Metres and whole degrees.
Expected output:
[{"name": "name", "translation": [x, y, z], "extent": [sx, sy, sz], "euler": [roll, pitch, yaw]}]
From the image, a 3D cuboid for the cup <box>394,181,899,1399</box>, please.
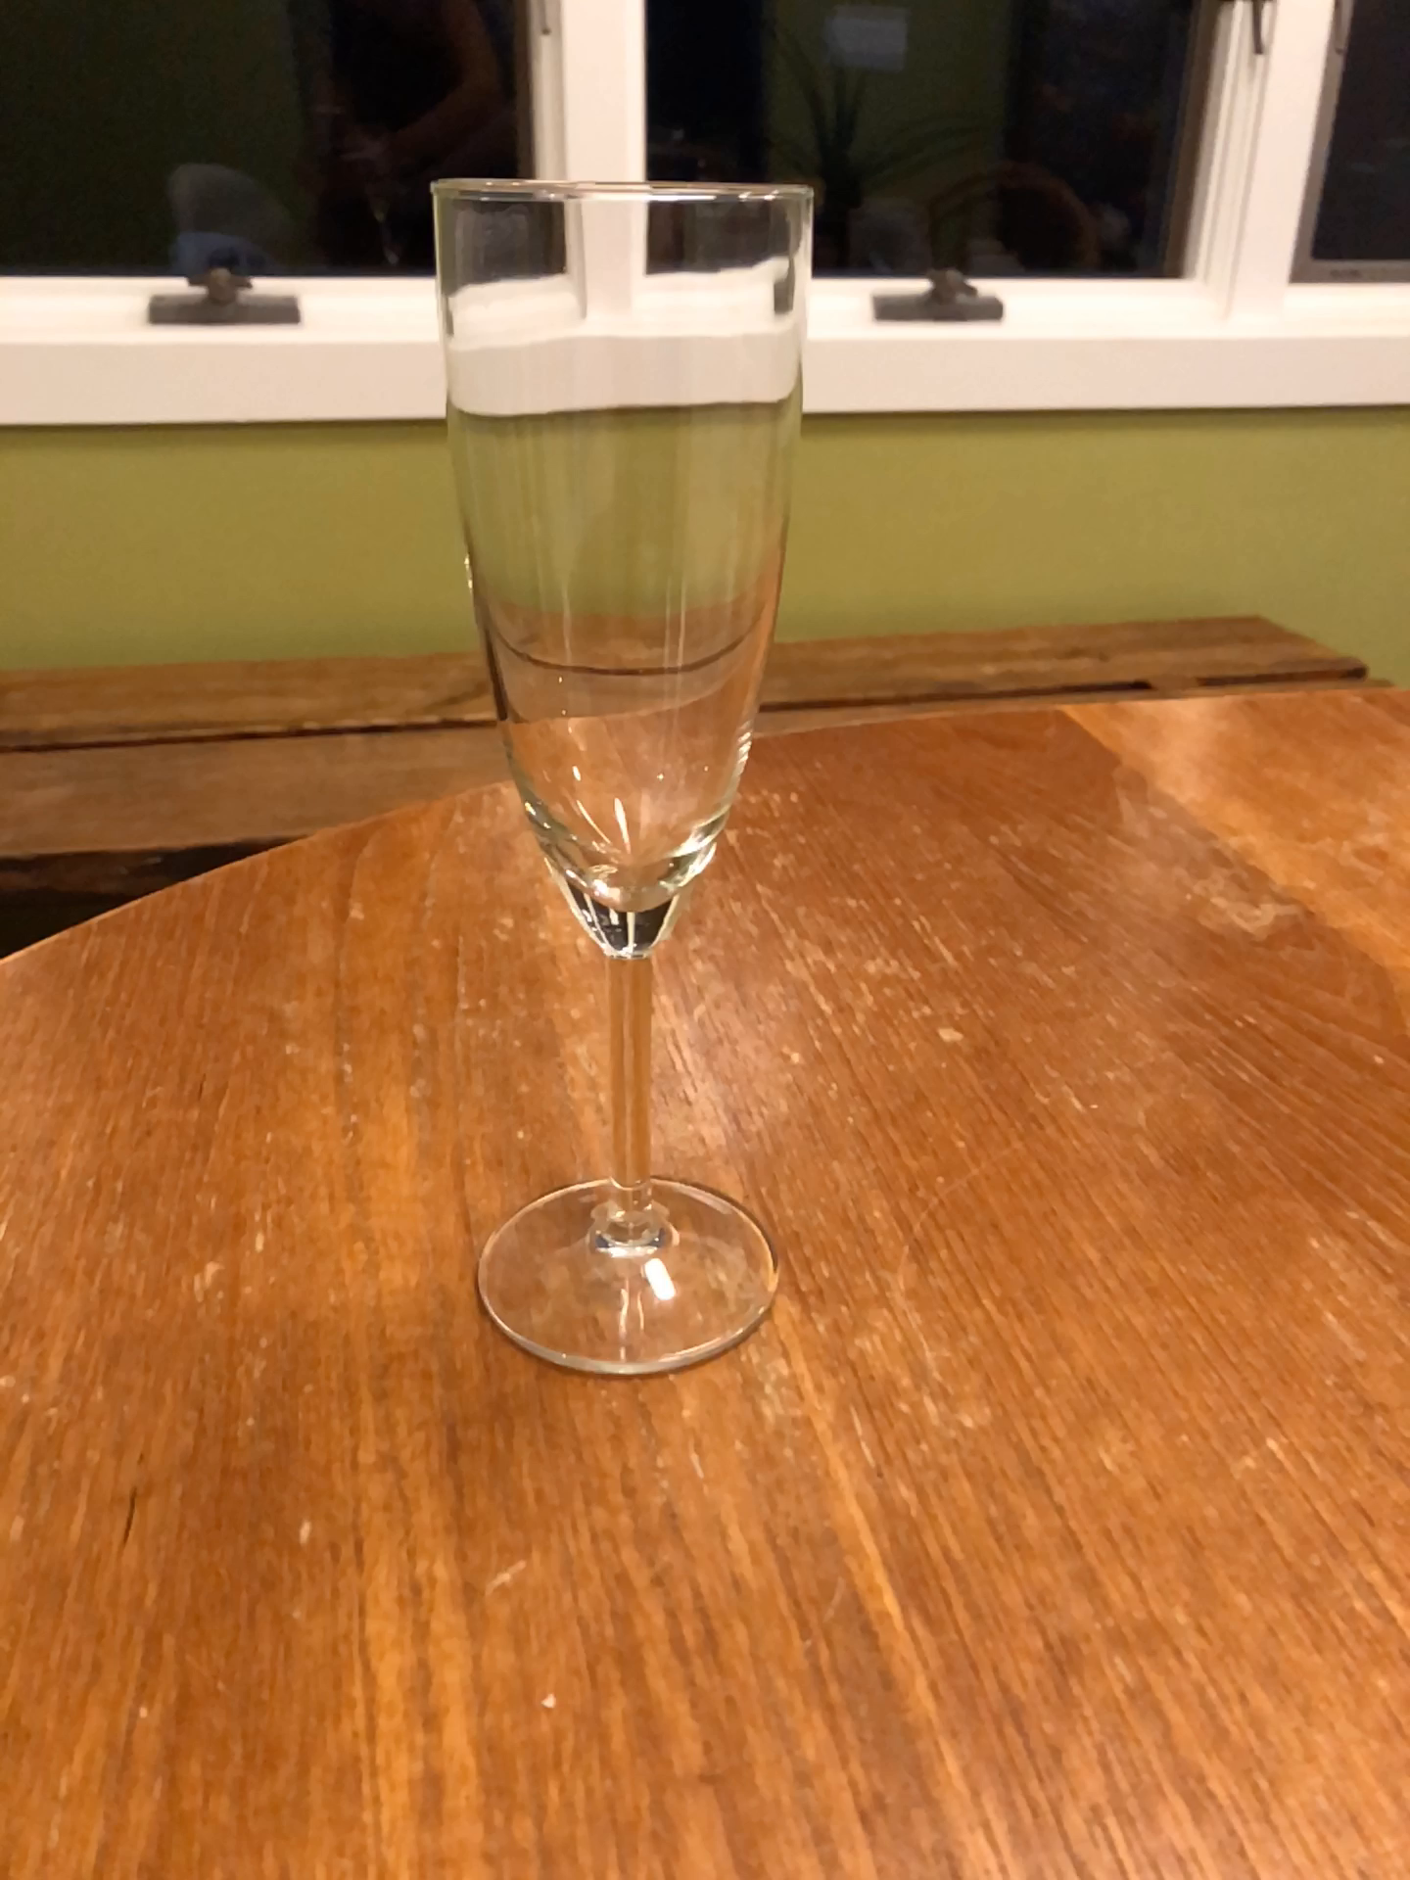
[{"name": "cup", "translation": [-0.015, -0.026, 0.296], "extent": [0.070, 0.211, 0.077], "euler": [-4, 27, -10]}]
